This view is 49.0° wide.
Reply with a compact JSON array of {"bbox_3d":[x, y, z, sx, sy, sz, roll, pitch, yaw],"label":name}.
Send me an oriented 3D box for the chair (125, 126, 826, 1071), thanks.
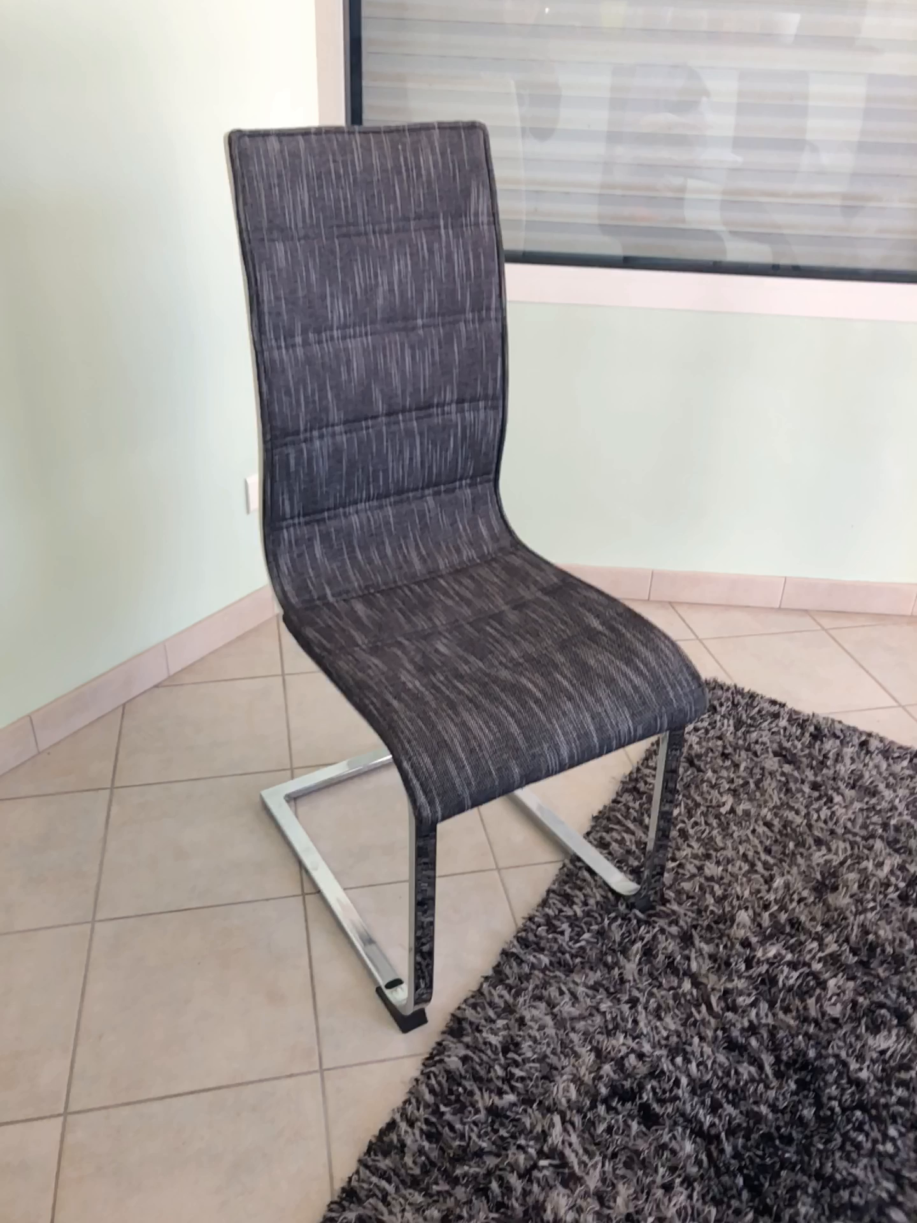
[{"bbox_3d":[-0.030,-0.063,1.290,0.502,0.963,0.581,-16,34,-29],"label":"chair"}]
